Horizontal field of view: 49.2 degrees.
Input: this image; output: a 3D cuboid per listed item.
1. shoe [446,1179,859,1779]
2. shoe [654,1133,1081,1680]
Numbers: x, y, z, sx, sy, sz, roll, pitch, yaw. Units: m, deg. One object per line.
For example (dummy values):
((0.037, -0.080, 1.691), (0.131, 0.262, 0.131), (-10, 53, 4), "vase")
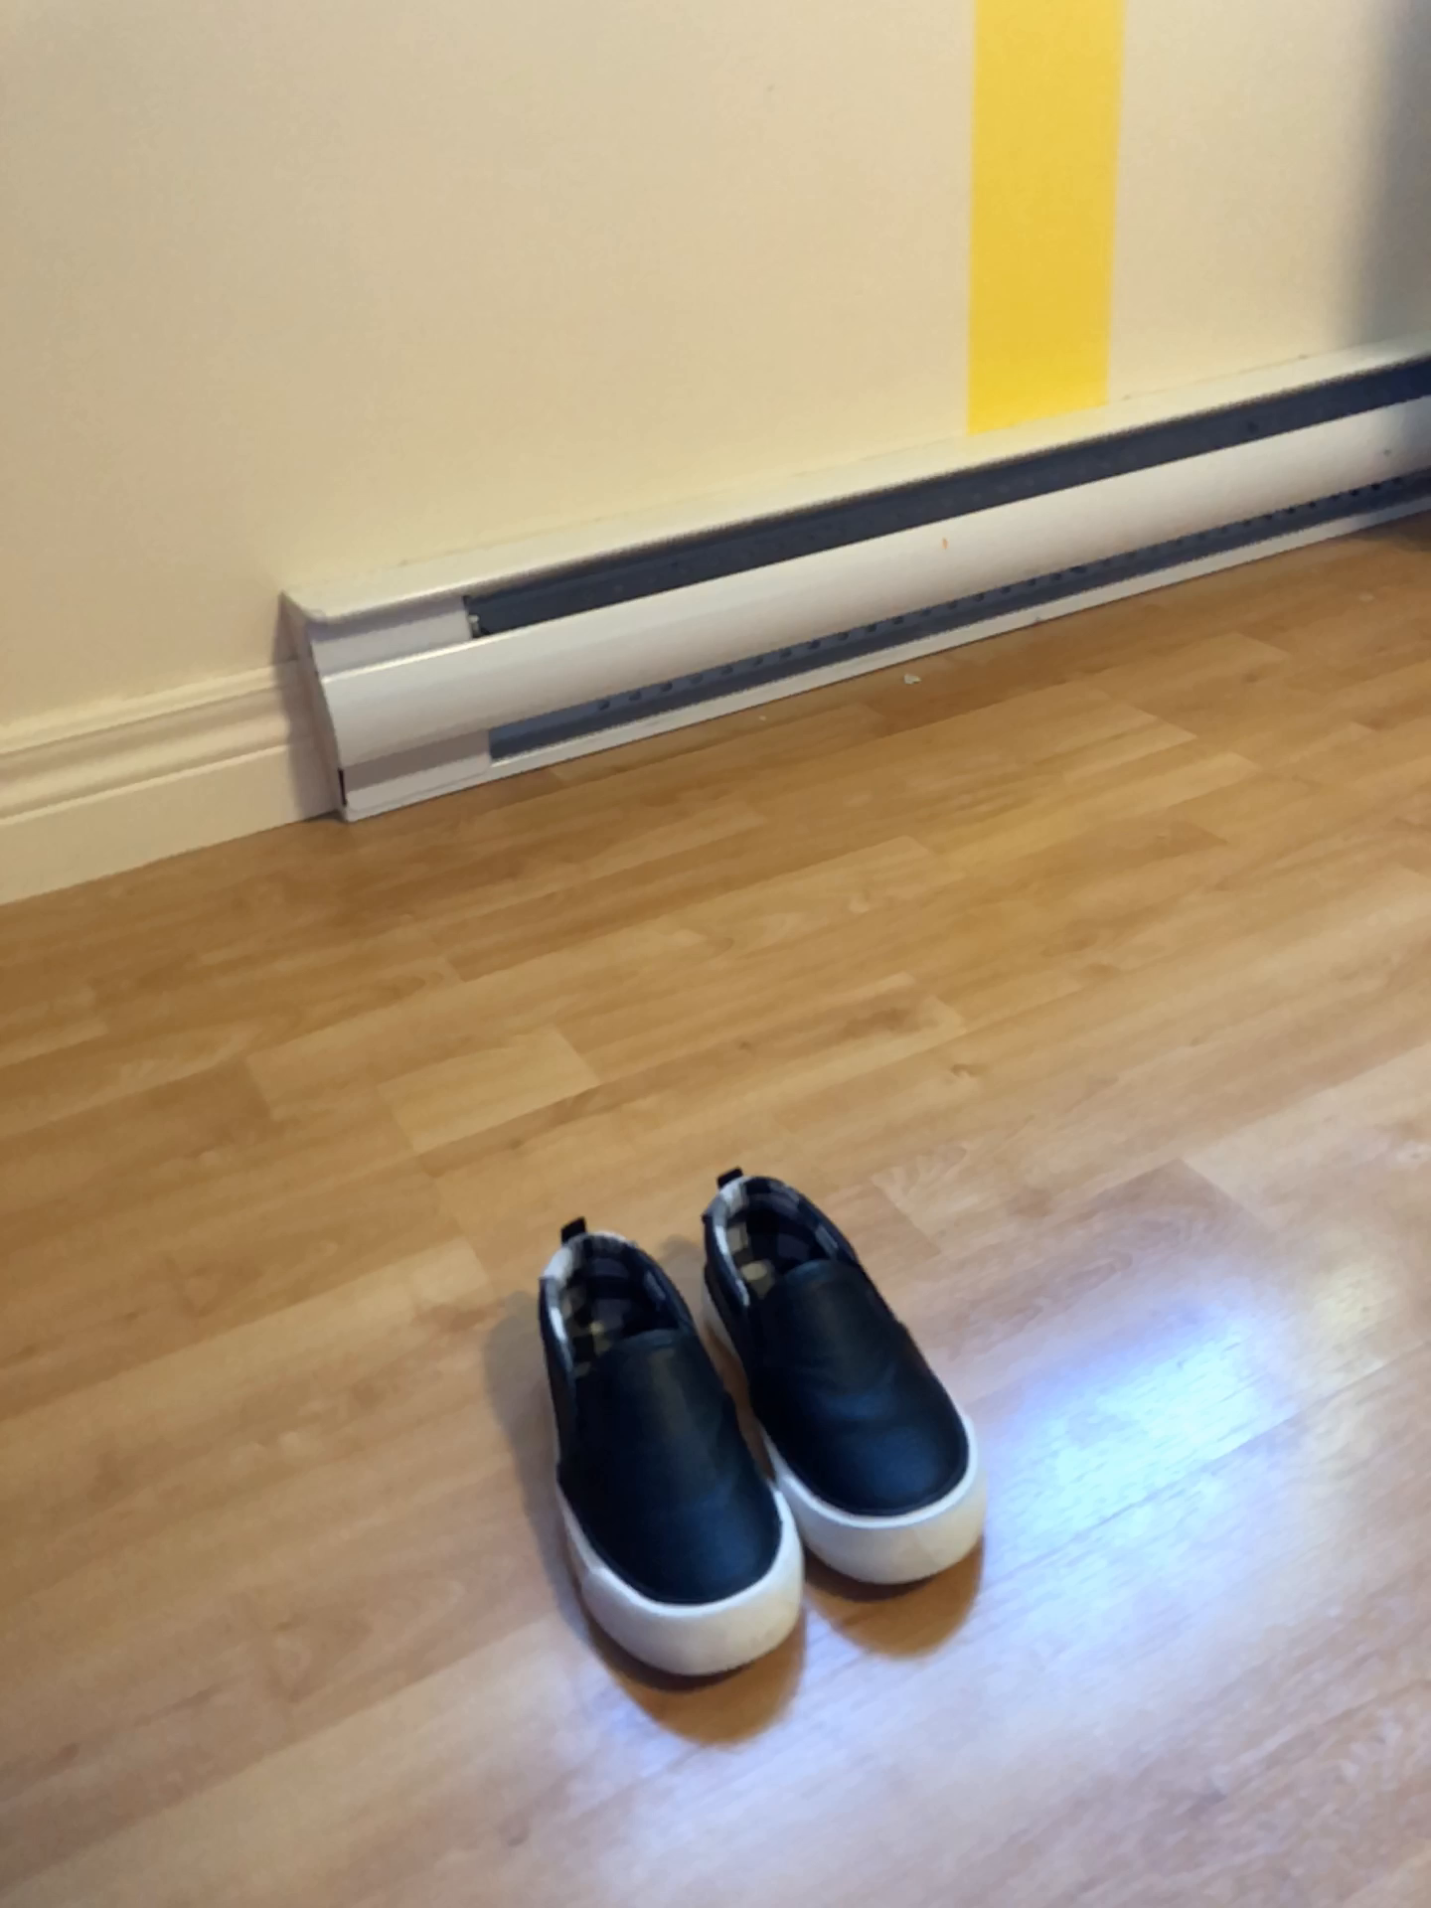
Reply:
((-0.027, 0.163, 0.524), (0.080, 0.060, 0.181), (-15, 33, -15), "shoe")
((0.046, 0.149, 0.556), (0.080, 0.060, 0.181), (-14, 33, -14), "shoe")
